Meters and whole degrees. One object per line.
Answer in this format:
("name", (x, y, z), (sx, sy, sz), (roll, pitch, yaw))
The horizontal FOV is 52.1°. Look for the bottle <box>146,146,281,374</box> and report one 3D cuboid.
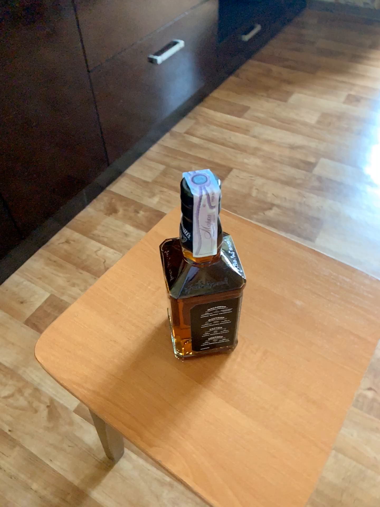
("bottle", (0.015, 0.020, 0.354), (0.080, 0.209, 0.080), (-1, 49, 1))
